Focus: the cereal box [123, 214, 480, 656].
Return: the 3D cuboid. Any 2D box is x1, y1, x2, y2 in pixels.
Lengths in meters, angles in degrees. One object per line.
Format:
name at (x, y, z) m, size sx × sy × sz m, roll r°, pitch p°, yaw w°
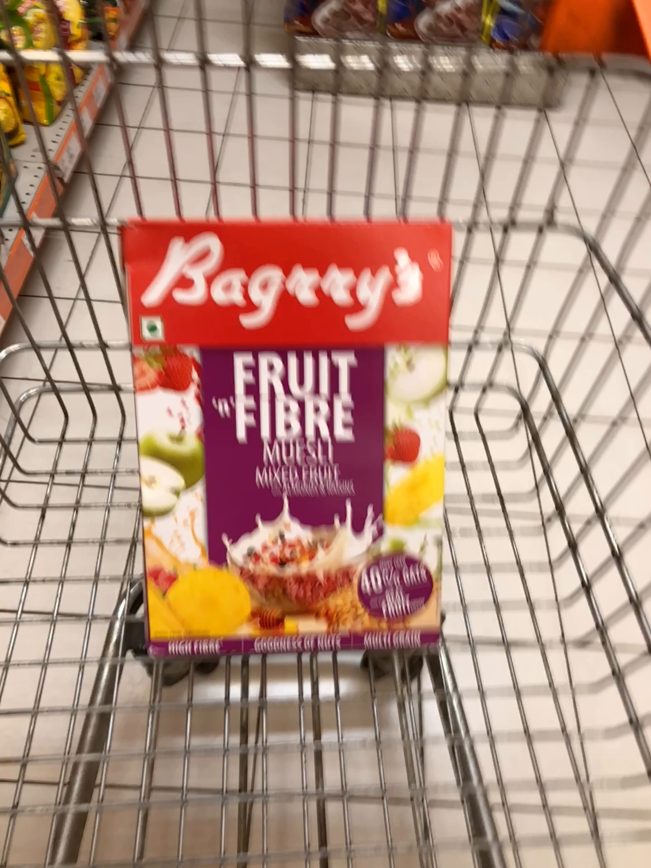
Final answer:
cereal box at (-0.014, -0.001, 0.440) m, size 0.190 × 0.250 × 0.070 m, roll -1°, pitch 11°, yaw -4°
